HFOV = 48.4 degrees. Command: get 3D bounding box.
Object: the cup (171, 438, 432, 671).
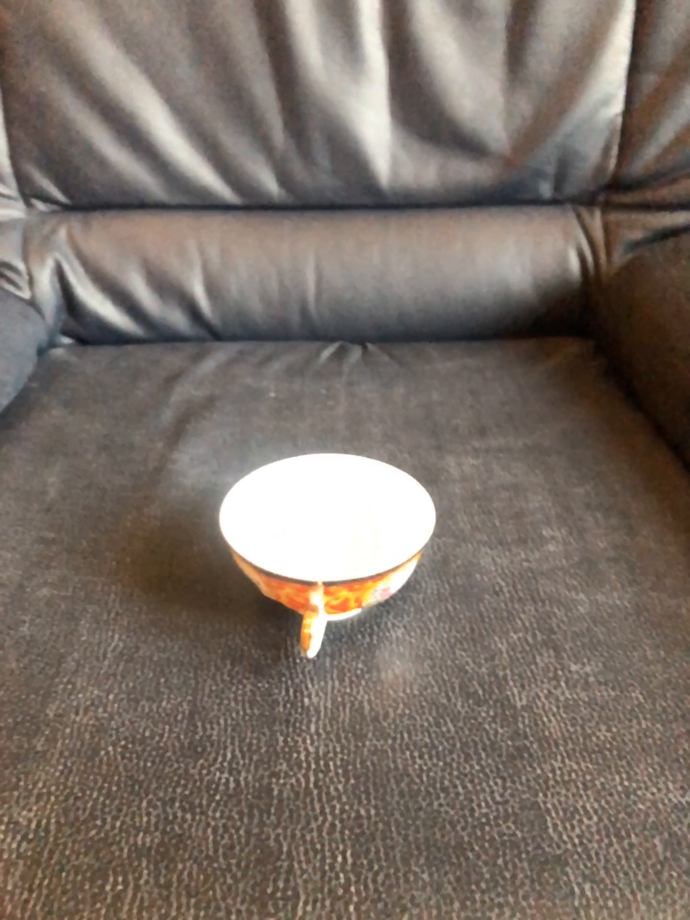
[{"bbox_3d":[-0.015,0.038,0.349,0.100,0.041,0.108,0,34,0],"label":"cup"}]
